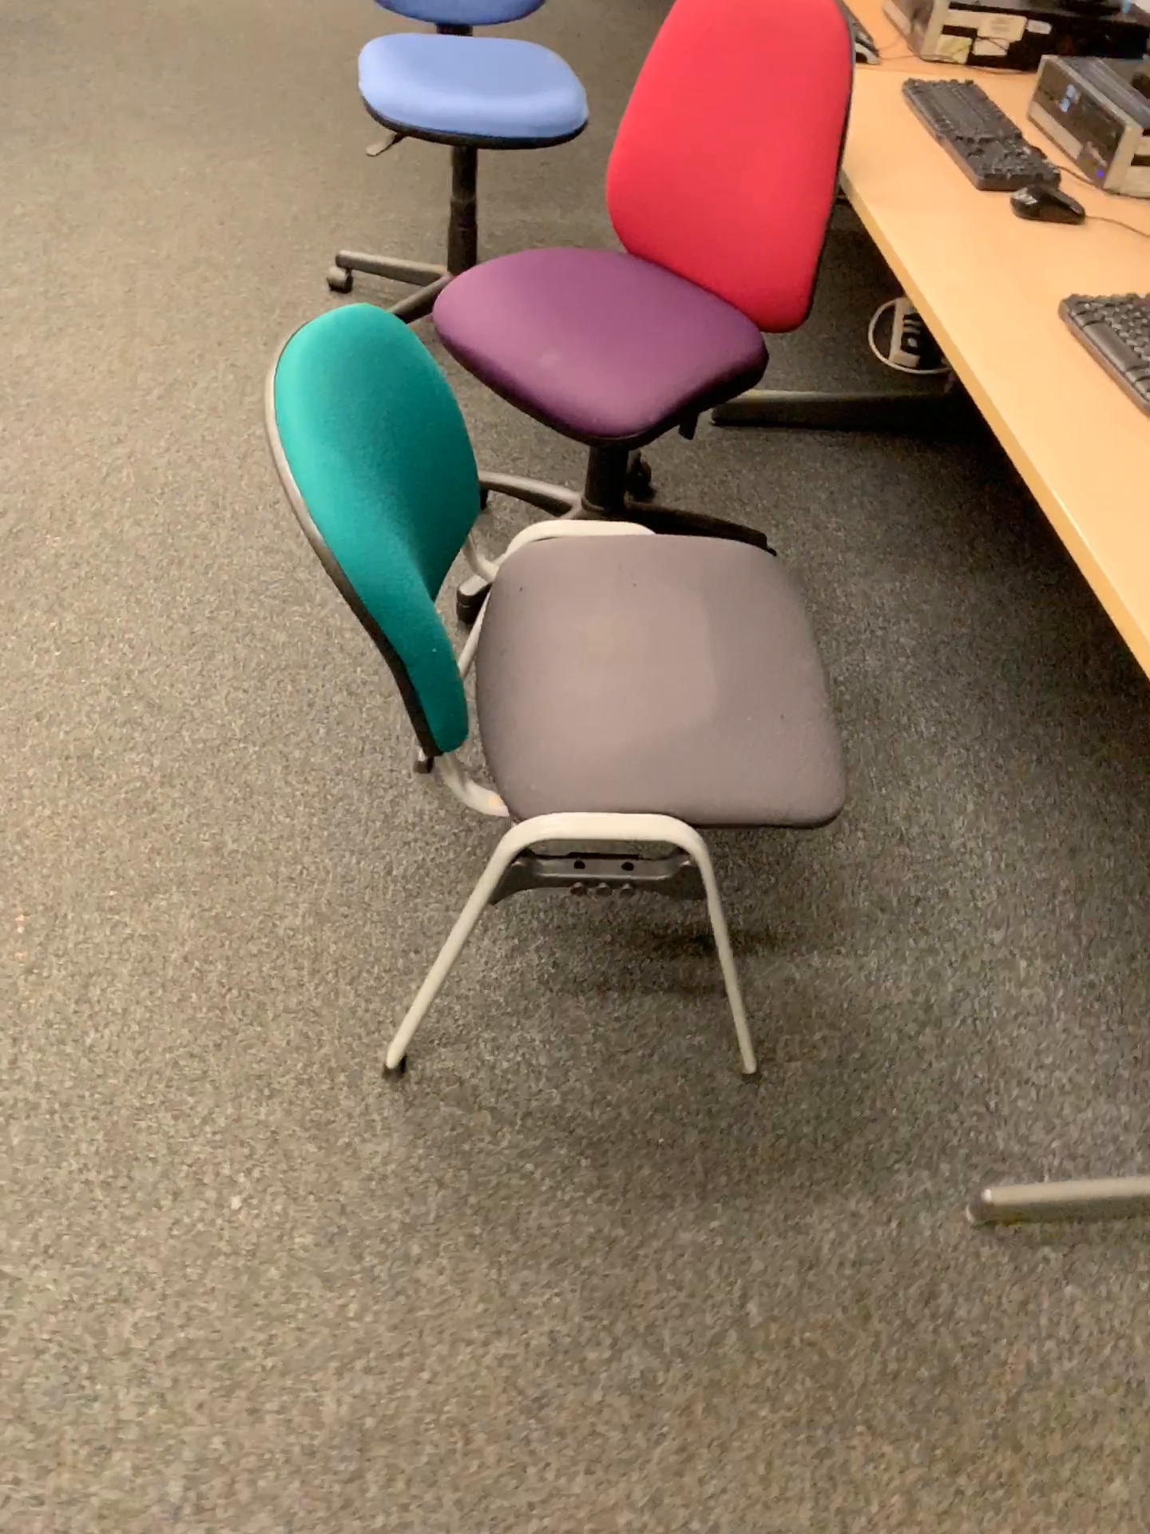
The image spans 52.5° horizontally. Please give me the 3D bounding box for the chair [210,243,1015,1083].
[{"bbox_3d":[-0.009,-0.084,1.309,0.598,0.721,0.557,2,45,-6],"label":"chair"}]

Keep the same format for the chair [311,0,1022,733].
[{"bbox_3d":[0.090,-0.689,1.812,0.655,0.860,0.671,36,51,25],"label":"chair"}]
